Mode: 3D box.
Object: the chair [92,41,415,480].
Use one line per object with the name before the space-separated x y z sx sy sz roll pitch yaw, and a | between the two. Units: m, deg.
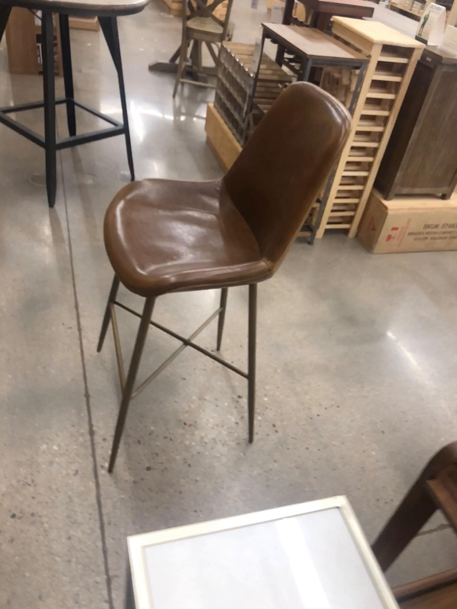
chair | -0.065 -0.090 1.487 0.611 1.055 0.605 -3 40 -17
